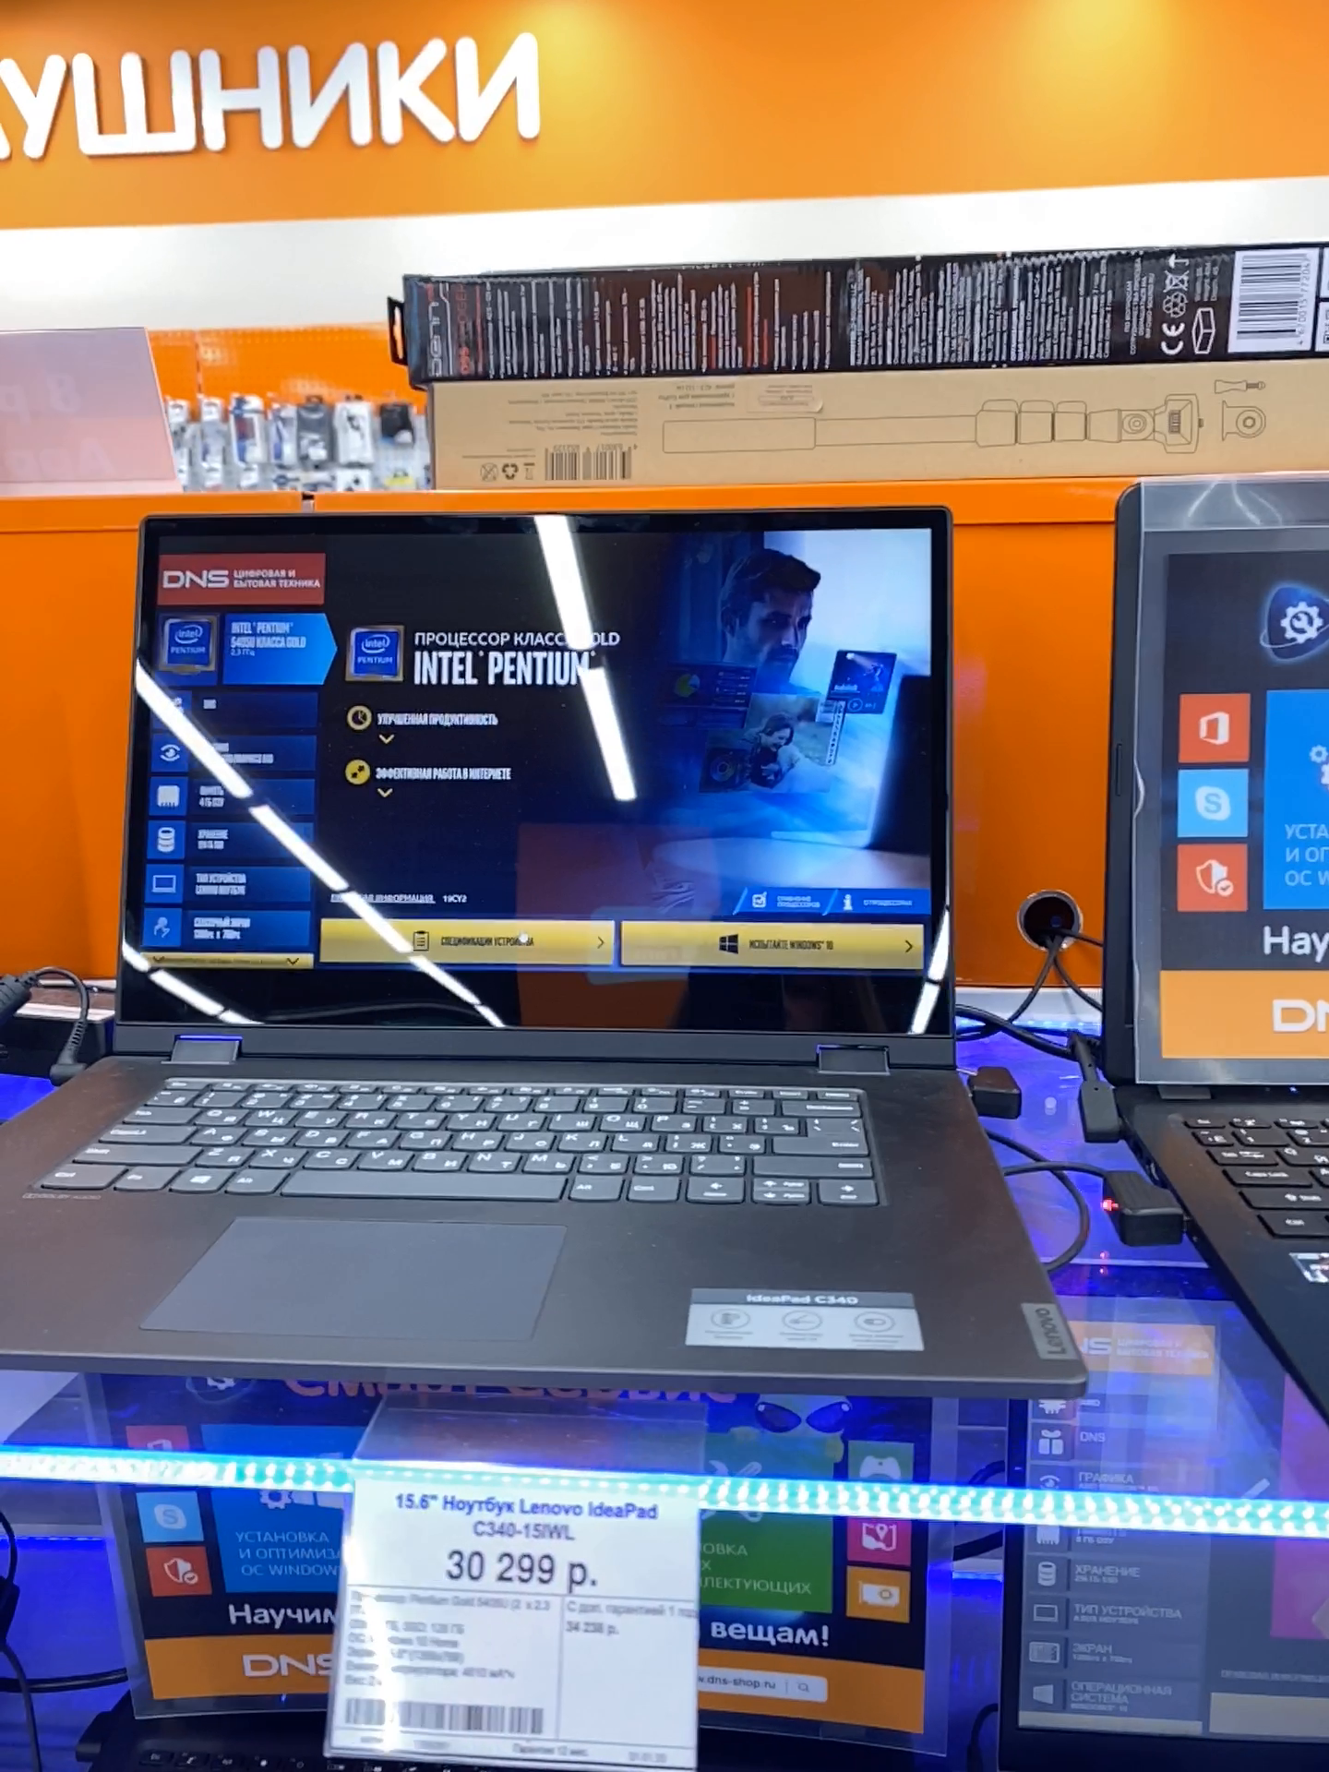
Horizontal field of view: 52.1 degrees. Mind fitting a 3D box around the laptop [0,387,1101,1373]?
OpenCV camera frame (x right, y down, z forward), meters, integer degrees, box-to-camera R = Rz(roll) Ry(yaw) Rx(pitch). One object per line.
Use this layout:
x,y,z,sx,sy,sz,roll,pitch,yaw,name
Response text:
-0.075,-0.025,0.480,0.362,0.232,0.318,0,10,3,laptop
